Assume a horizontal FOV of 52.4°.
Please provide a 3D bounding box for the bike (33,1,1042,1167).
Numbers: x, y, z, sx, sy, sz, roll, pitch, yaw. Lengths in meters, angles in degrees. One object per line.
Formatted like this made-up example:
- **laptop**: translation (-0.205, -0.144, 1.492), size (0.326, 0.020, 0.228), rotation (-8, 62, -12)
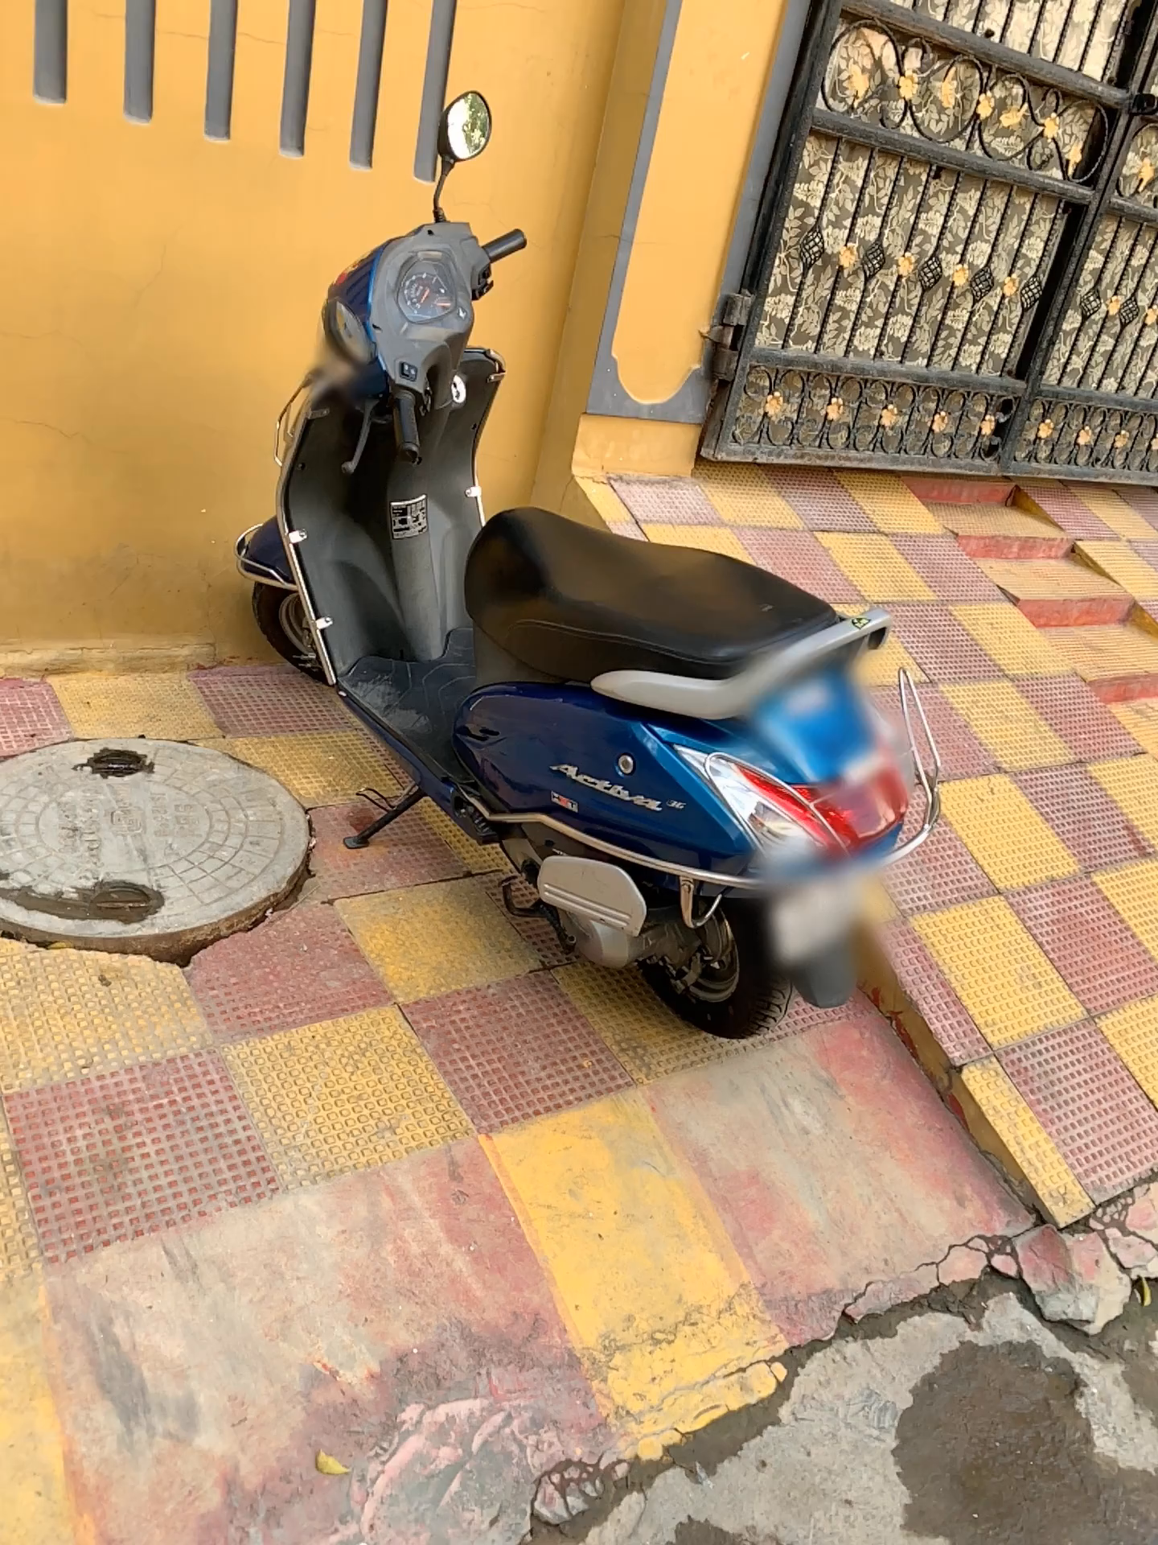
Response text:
- **bike**: translation (-0.252, -0.397, 1.963), size (0.597, 1.098, 1.529), rotation (-16, 43, -45)
